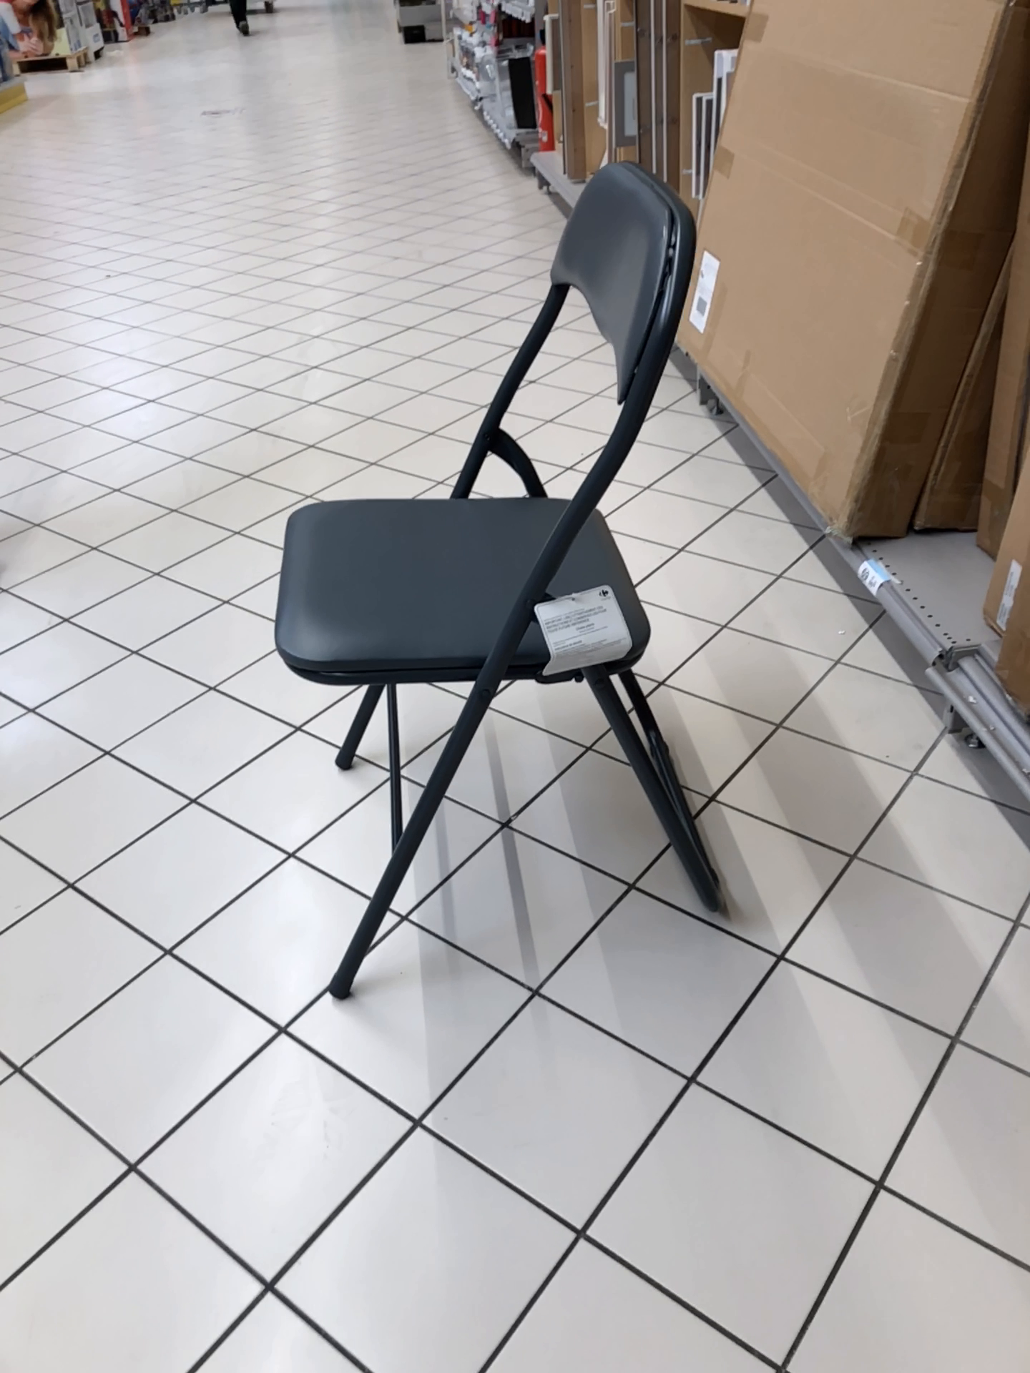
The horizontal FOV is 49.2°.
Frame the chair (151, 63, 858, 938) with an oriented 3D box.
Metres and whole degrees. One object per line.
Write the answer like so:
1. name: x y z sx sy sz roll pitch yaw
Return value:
1. chair: -0.014 -0.209 1.238 0.500 0.755 0.553 -4 36 -2
